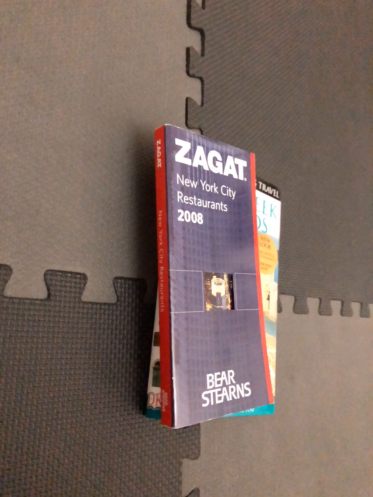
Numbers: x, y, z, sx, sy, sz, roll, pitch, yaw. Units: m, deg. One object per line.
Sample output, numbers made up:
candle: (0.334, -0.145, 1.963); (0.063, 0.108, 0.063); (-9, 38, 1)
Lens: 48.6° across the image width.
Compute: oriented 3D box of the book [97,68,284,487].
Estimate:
book: (0.009, 0.014, 0.304); (0.151, 0.020, 0.250); (4, 80, -42)

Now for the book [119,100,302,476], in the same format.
book: (0.036, 0.032, 0.350); (0.171, 0.030, 0.260); (15, 73, -40)
